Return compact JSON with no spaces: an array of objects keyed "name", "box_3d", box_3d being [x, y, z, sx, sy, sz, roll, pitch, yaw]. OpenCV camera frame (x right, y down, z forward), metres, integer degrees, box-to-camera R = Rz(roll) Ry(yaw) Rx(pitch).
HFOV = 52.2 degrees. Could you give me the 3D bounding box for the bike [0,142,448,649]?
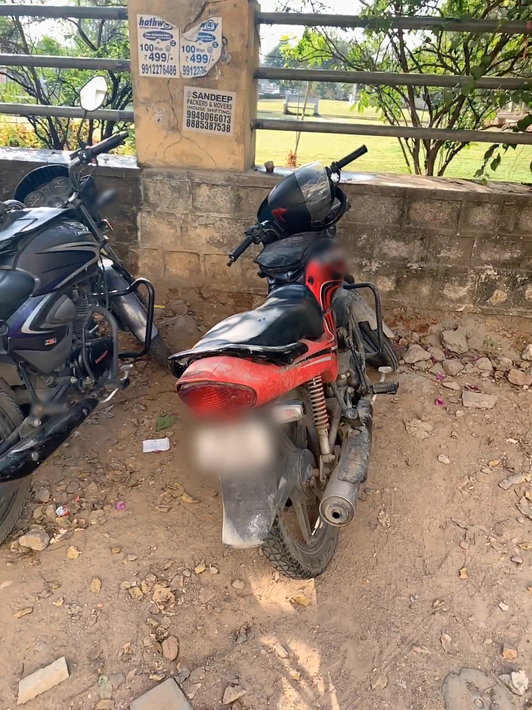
[{"name":"bike","box_3d":[0.008,-0.097,2.099,1.063,1.246,1.603,9,25,12]}]
